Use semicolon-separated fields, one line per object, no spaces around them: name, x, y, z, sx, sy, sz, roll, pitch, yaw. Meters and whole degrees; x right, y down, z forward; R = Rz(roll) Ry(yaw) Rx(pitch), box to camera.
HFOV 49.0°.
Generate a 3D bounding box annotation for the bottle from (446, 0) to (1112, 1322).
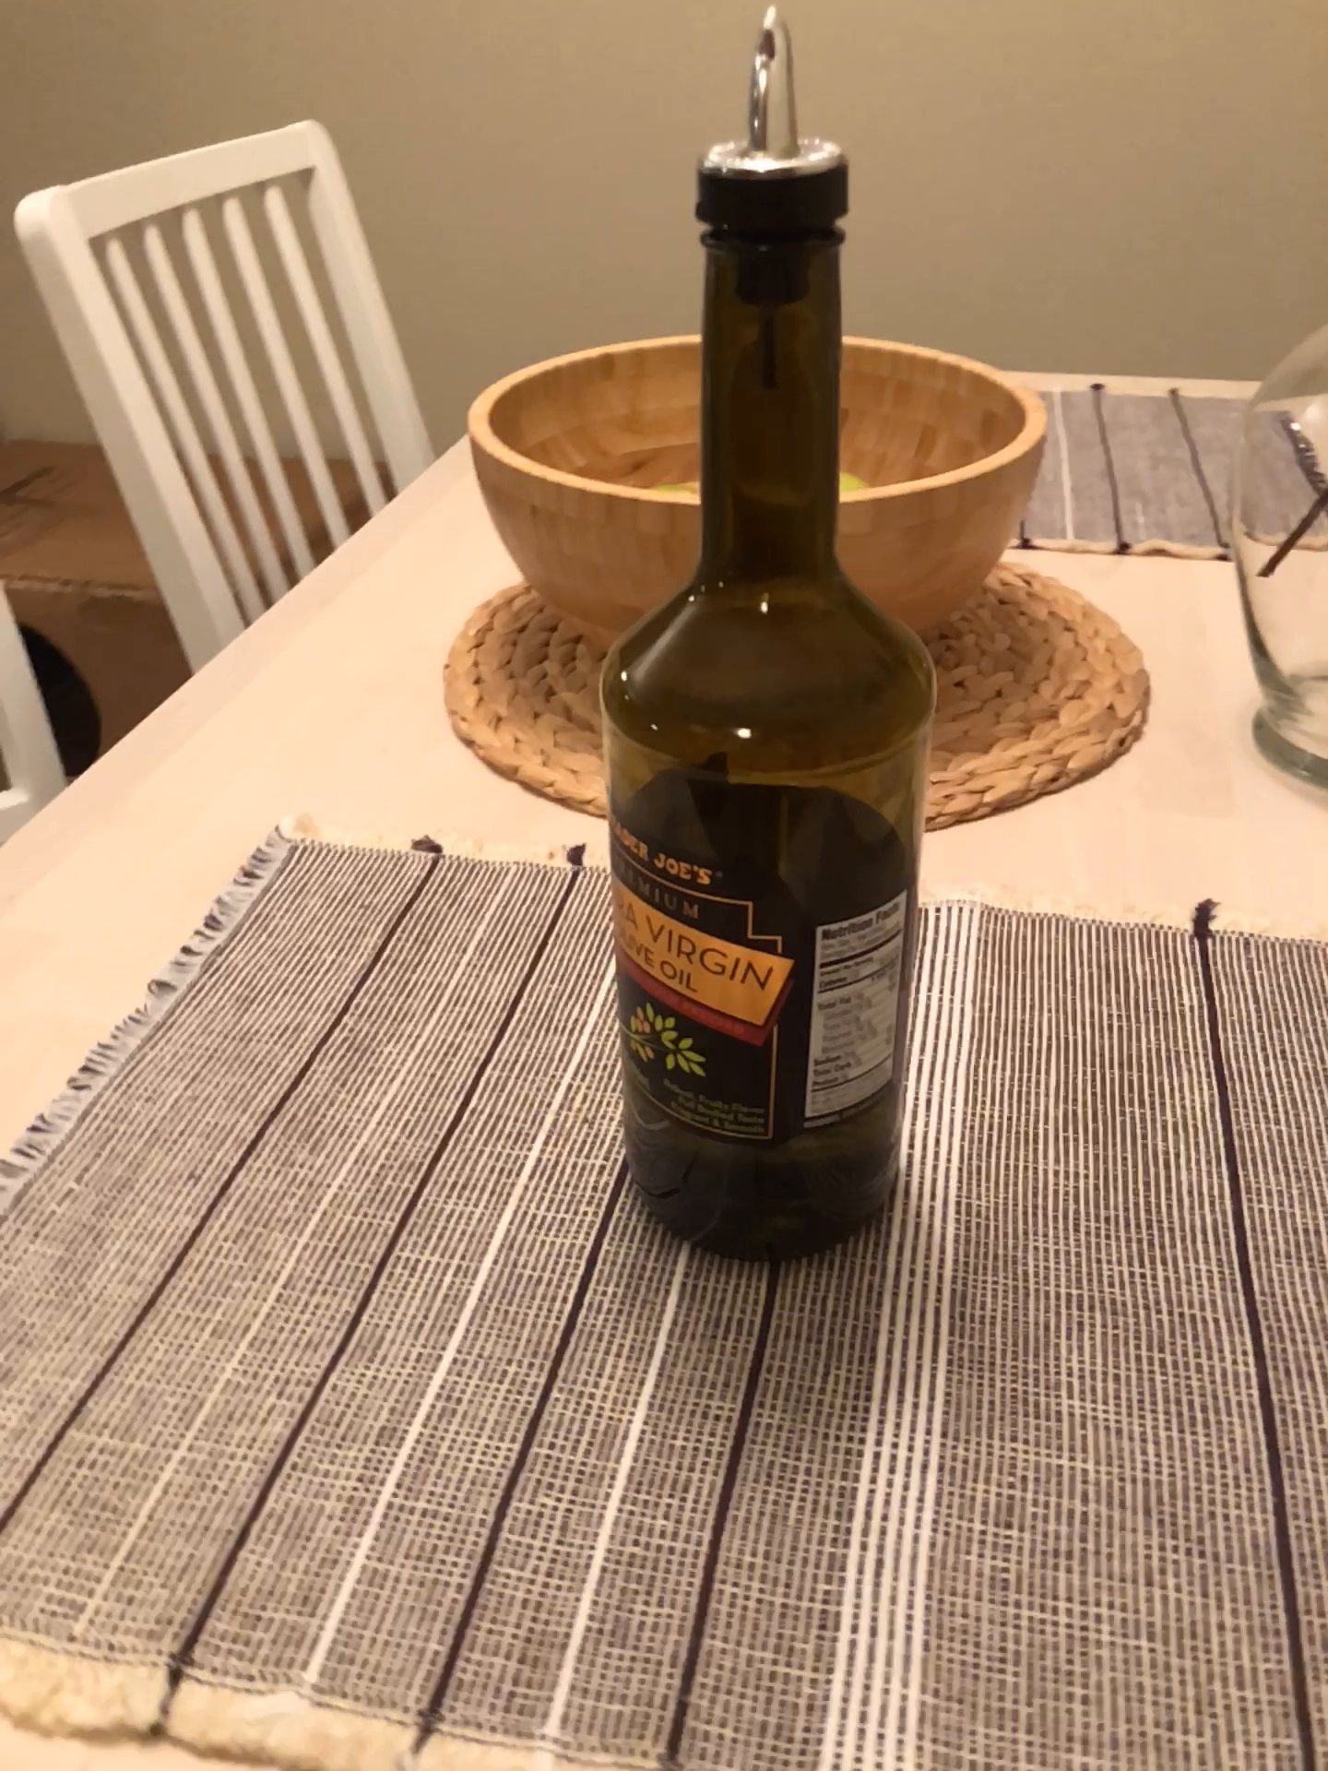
bottle;0.024;-0.045;0.369;0.095;0.304;0.091;-1;33;1
